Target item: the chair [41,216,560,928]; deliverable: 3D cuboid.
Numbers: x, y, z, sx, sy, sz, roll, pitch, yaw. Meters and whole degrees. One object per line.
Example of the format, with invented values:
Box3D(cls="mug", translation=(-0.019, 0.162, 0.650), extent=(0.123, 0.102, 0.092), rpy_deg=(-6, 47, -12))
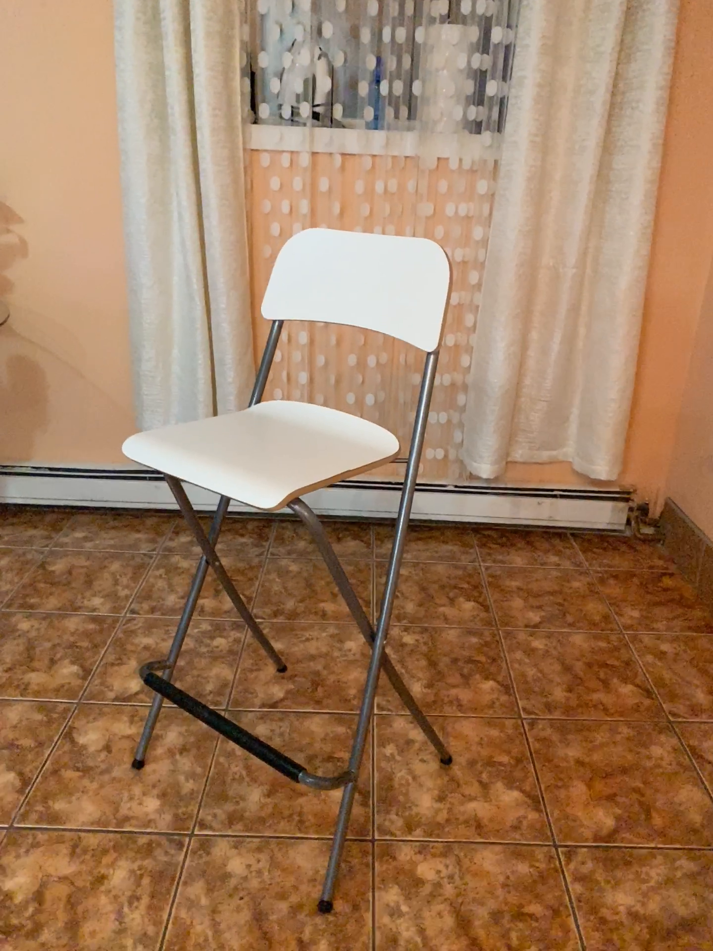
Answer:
Box3D(cls="chair", translation=(-0.096, 0.091, 1.313), extent=(0.599, 1.007, 0.544), rpy_deg=(18, 26, 30))
